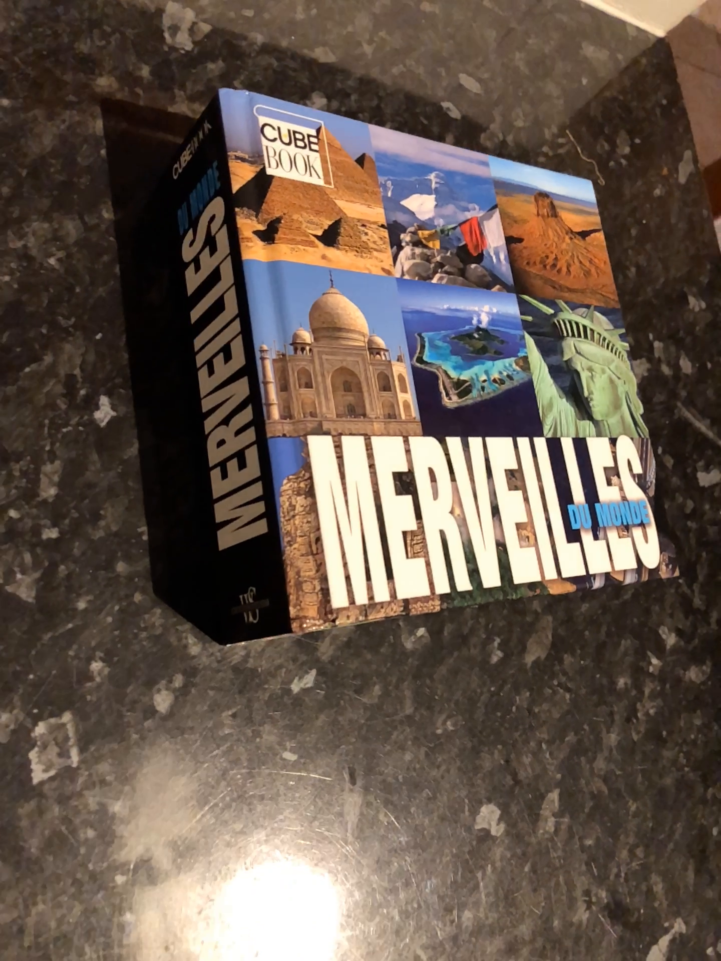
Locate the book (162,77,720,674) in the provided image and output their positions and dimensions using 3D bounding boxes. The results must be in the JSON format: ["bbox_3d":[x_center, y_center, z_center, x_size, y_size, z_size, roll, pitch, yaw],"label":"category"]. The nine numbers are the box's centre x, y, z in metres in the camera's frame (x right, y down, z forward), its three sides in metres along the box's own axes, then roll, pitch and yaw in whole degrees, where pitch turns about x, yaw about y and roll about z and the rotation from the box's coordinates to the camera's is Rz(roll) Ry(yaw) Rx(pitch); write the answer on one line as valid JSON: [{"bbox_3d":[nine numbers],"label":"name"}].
[{"bbox_3d":[0.033,-0.030,0.276,0.171,0.060,0.160,-2,77,-33],"label":"book"}]
